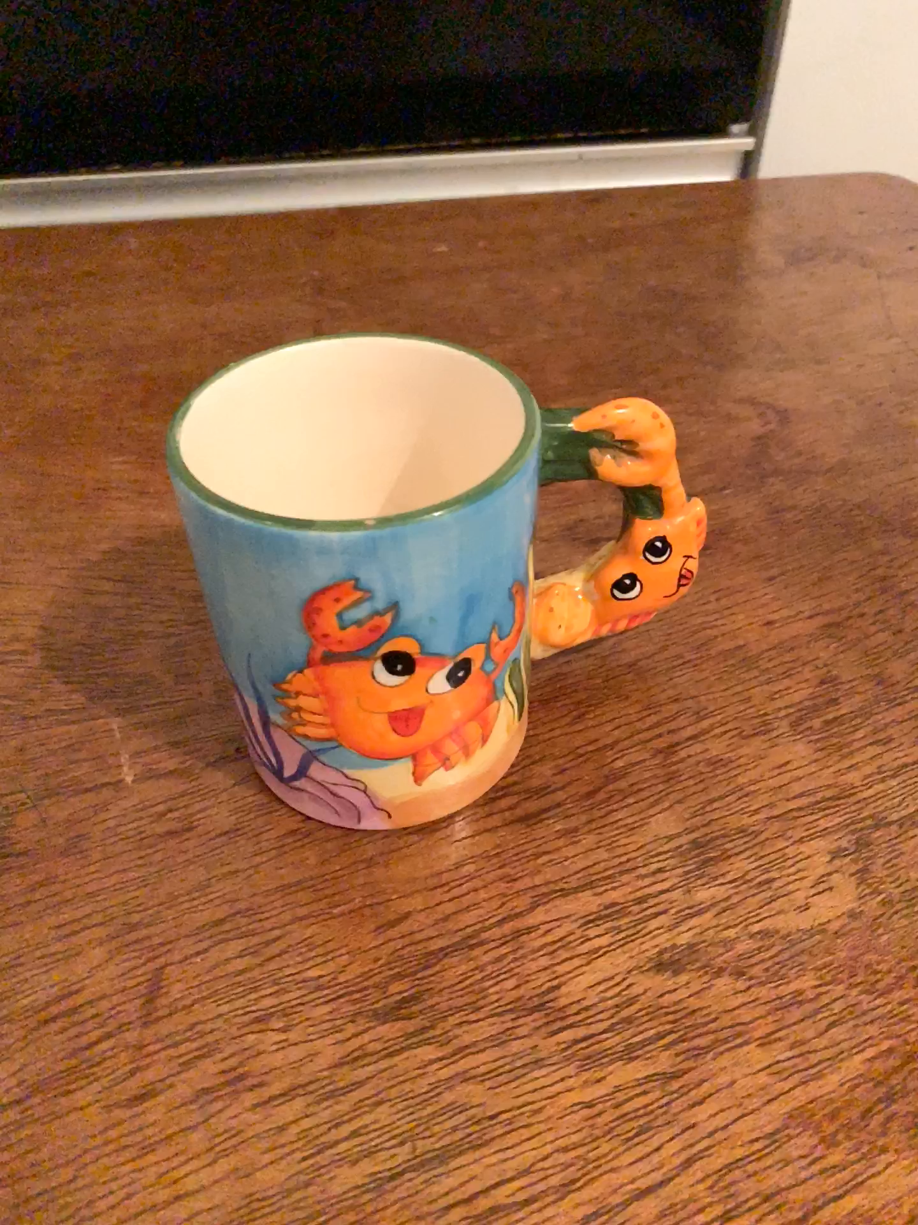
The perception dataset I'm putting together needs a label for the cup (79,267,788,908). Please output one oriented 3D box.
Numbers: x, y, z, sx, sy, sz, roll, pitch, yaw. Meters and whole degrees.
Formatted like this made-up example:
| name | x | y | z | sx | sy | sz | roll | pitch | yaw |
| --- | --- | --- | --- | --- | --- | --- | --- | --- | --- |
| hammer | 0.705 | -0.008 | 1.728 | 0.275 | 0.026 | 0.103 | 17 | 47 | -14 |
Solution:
| name | x | y | z | sx | sy | sz | roll | pitch | yaw |
| --- | --- | --- | --- | --- | --- | --- | --- | --- | --- |
| cup | -0.008 | -0.010 | 0.235 | 0.130 | 0.099 | 0.080 | -16 | 44 | -15 |
